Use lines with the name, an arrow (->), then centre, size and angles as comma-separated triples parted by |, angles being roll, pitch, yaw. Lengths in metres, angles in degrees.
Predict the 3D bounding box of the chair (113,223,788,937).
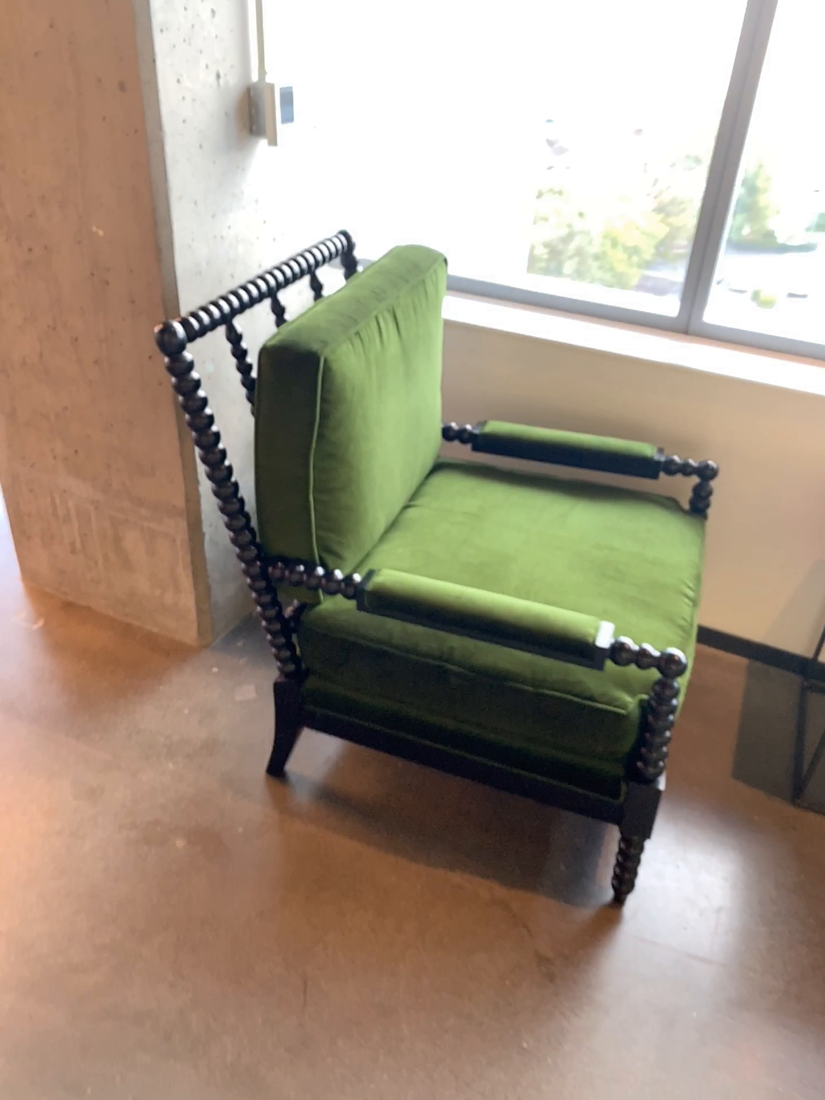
chair -> 0.118, -0.022, 1.686 | 0.911, 0.924, 0.845 | 13, 35, 14
